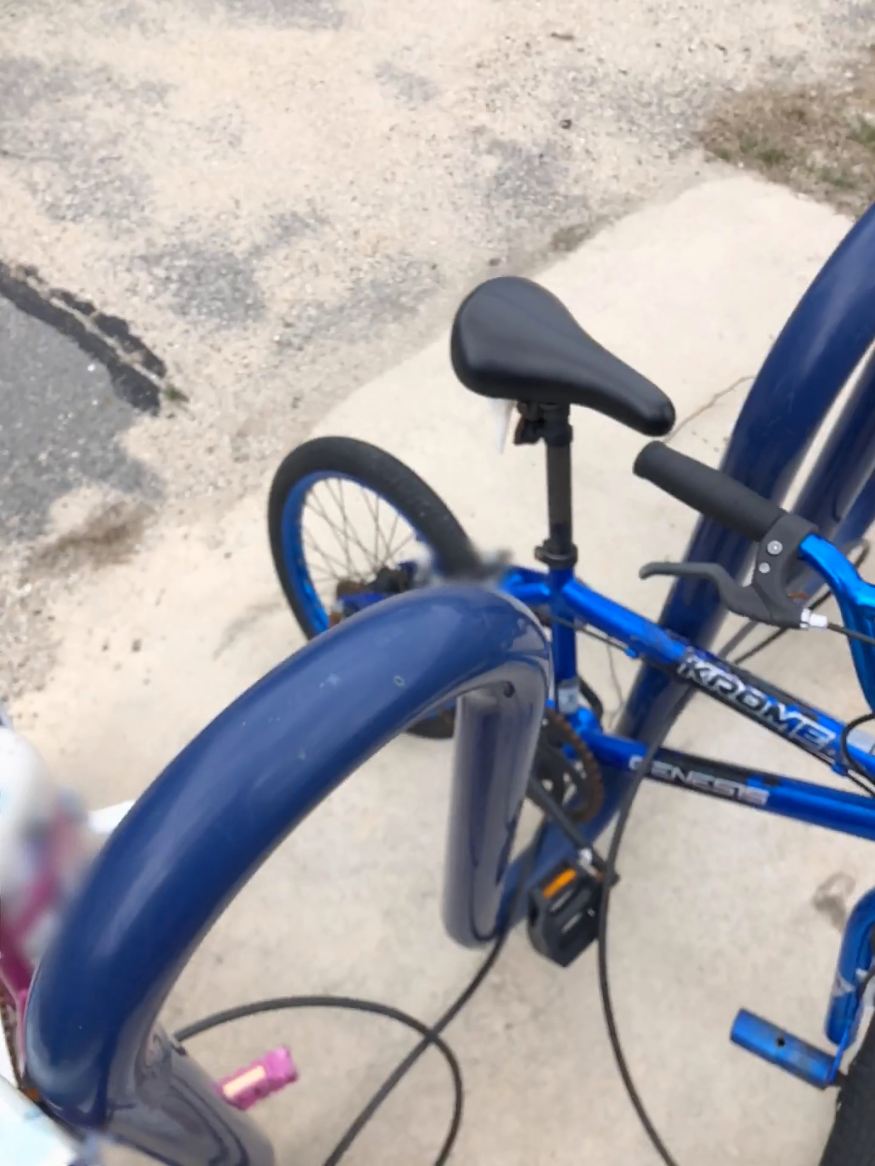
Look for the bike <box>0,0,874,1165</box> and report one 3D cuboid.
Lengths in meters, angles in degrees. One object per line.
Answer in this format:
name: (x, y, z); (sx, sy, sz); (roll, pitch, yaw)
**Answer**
bike: (0.130, 0.055, 0.999); (0.622, 0.841, 1.032); (-27, 57, -19)
